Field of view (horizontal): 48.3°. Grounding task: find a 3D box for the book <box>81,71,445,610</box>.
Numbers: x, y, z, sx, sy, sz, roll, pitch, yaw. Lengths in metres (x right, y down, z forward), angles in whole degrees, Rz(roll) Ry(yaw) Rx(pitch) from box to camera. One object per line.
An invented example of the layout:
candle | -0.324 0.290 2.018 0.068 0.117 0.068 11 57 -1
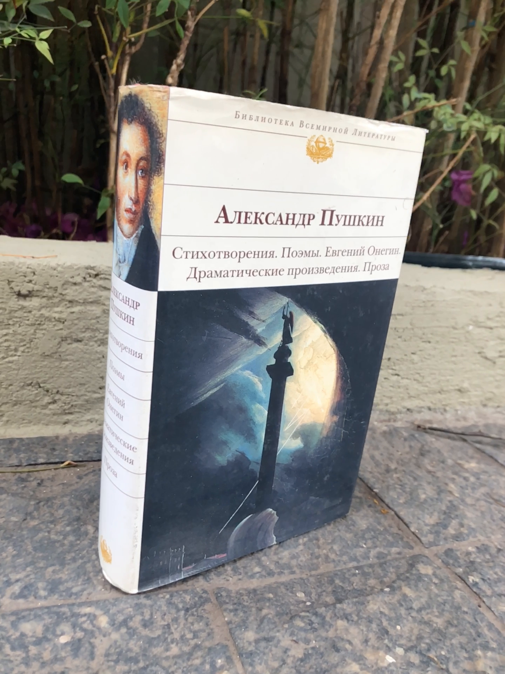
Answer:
book | 0.005 0.001 0.268 0.150 0.204 0.050 -5 20 -37
